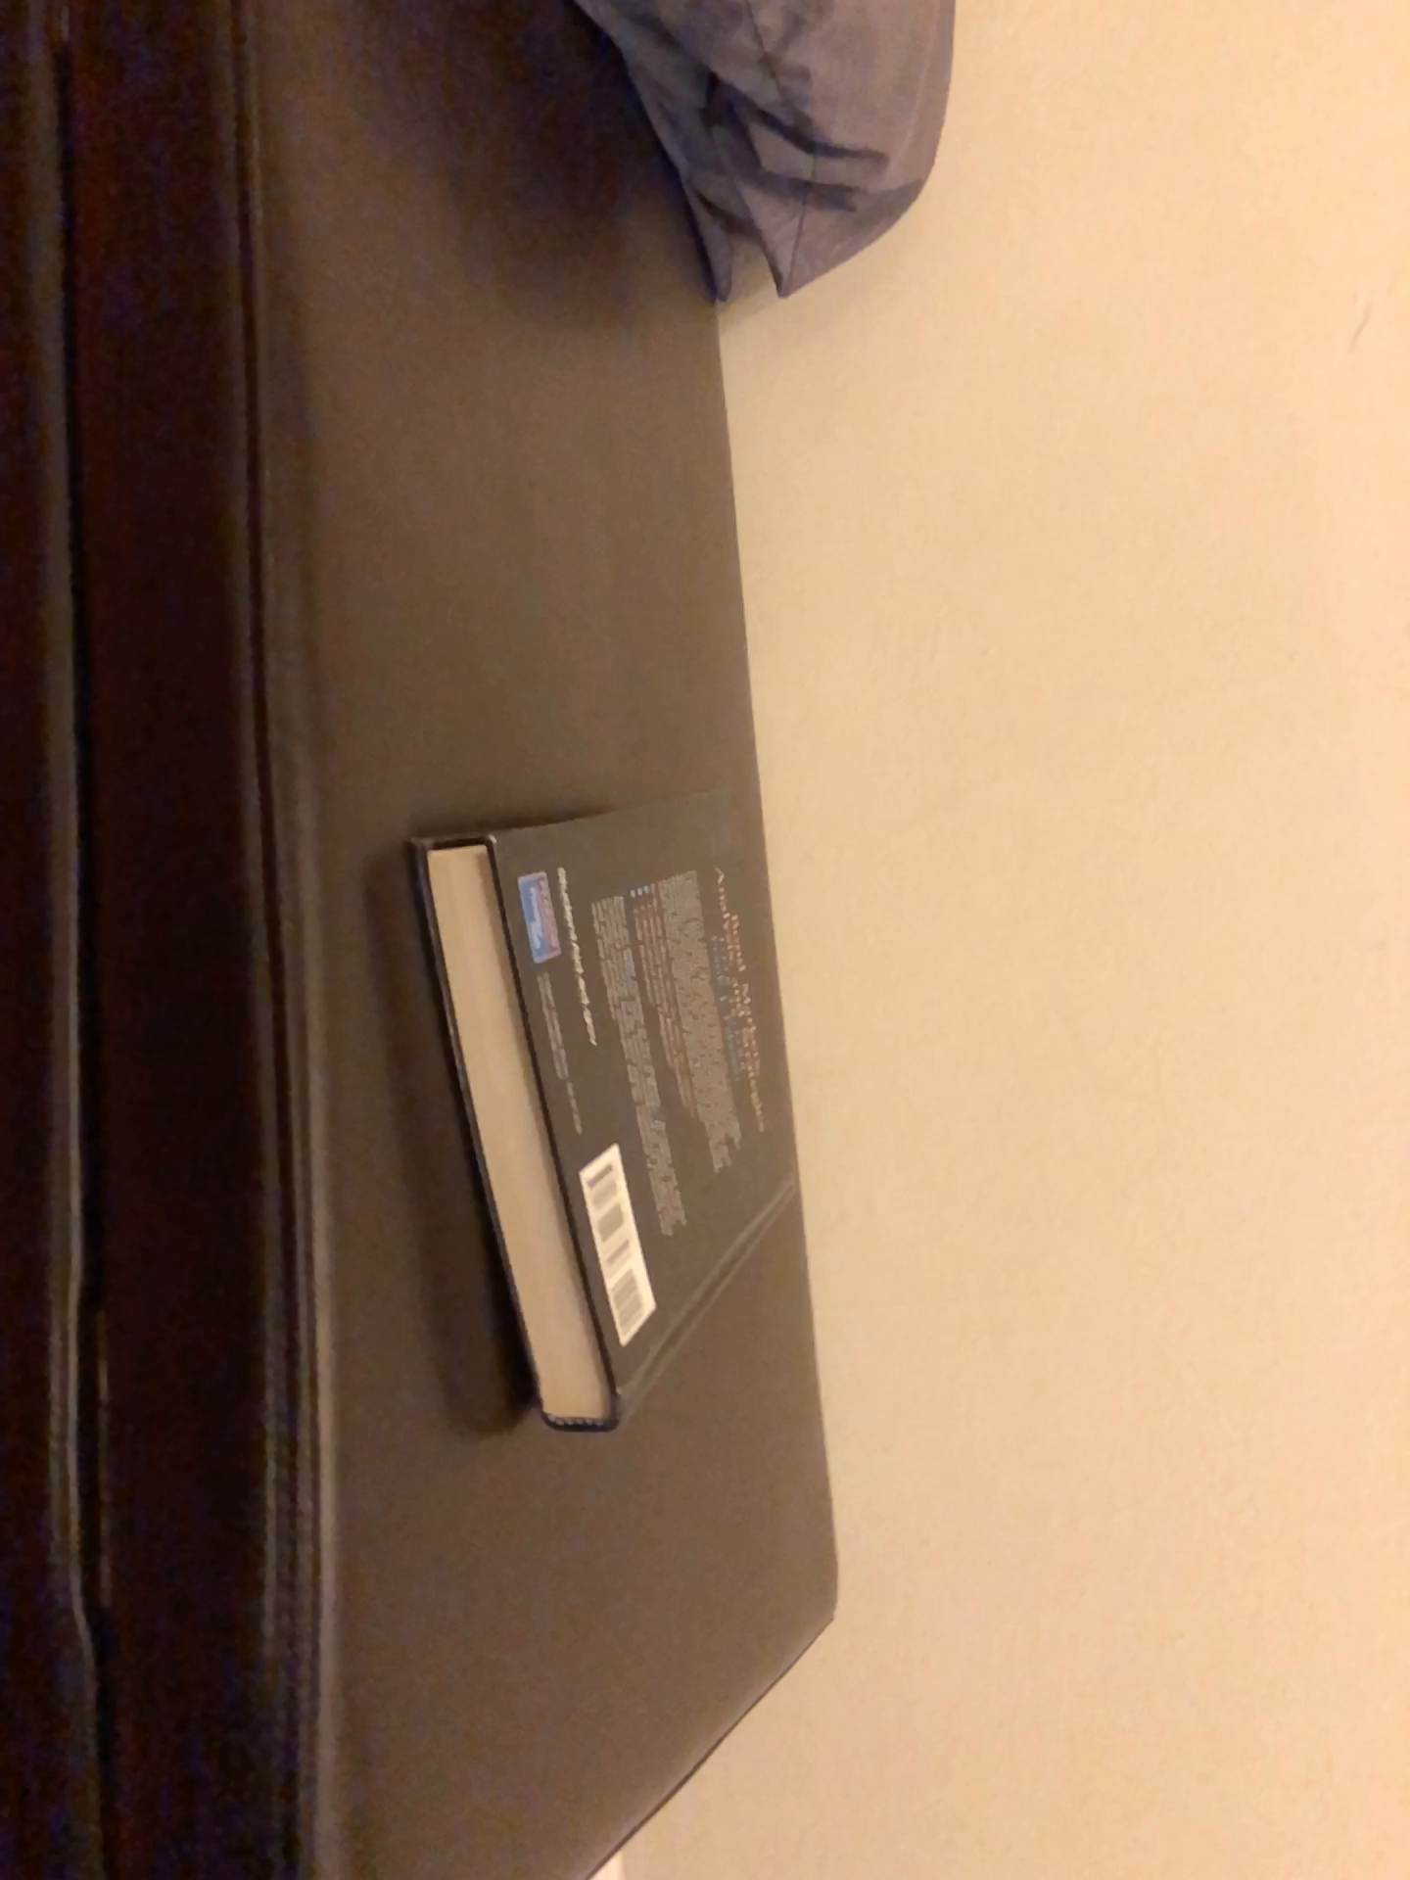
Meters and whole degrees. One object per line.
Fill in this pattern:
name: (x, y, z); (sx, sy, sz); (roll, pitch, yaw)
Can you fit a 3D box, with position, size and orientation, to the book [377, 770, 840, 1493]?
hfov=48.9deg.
book: (-0.017, 0.045, 0.570); (0.261, 0.040, 0.200); (-25, 105, -70)
